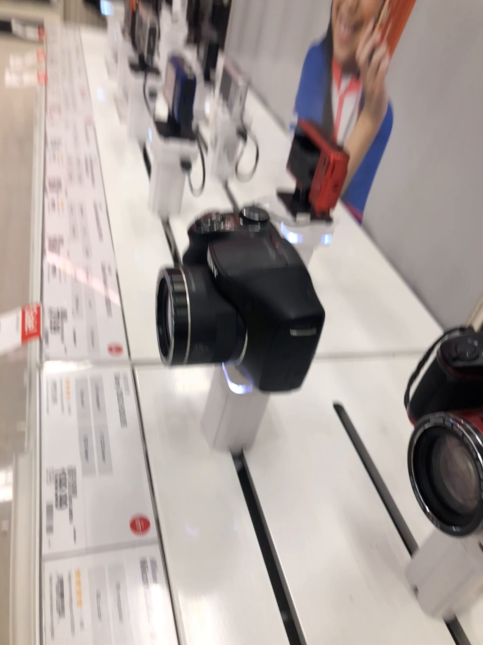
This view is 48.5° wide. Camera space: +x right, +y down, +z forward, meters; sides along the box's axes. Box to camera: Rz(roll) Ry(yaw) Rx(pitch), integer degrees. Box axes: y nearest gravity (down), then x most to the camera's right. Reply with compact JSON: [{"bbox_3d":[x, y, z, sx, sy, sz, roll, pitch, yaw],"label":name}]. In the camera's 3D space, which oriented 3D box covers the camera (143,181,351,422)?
[{"bbox_3d":[-0.008,-0.018,0.350,0.090,0.090,0.131,-1,40,-18],"label":"camera"}]
